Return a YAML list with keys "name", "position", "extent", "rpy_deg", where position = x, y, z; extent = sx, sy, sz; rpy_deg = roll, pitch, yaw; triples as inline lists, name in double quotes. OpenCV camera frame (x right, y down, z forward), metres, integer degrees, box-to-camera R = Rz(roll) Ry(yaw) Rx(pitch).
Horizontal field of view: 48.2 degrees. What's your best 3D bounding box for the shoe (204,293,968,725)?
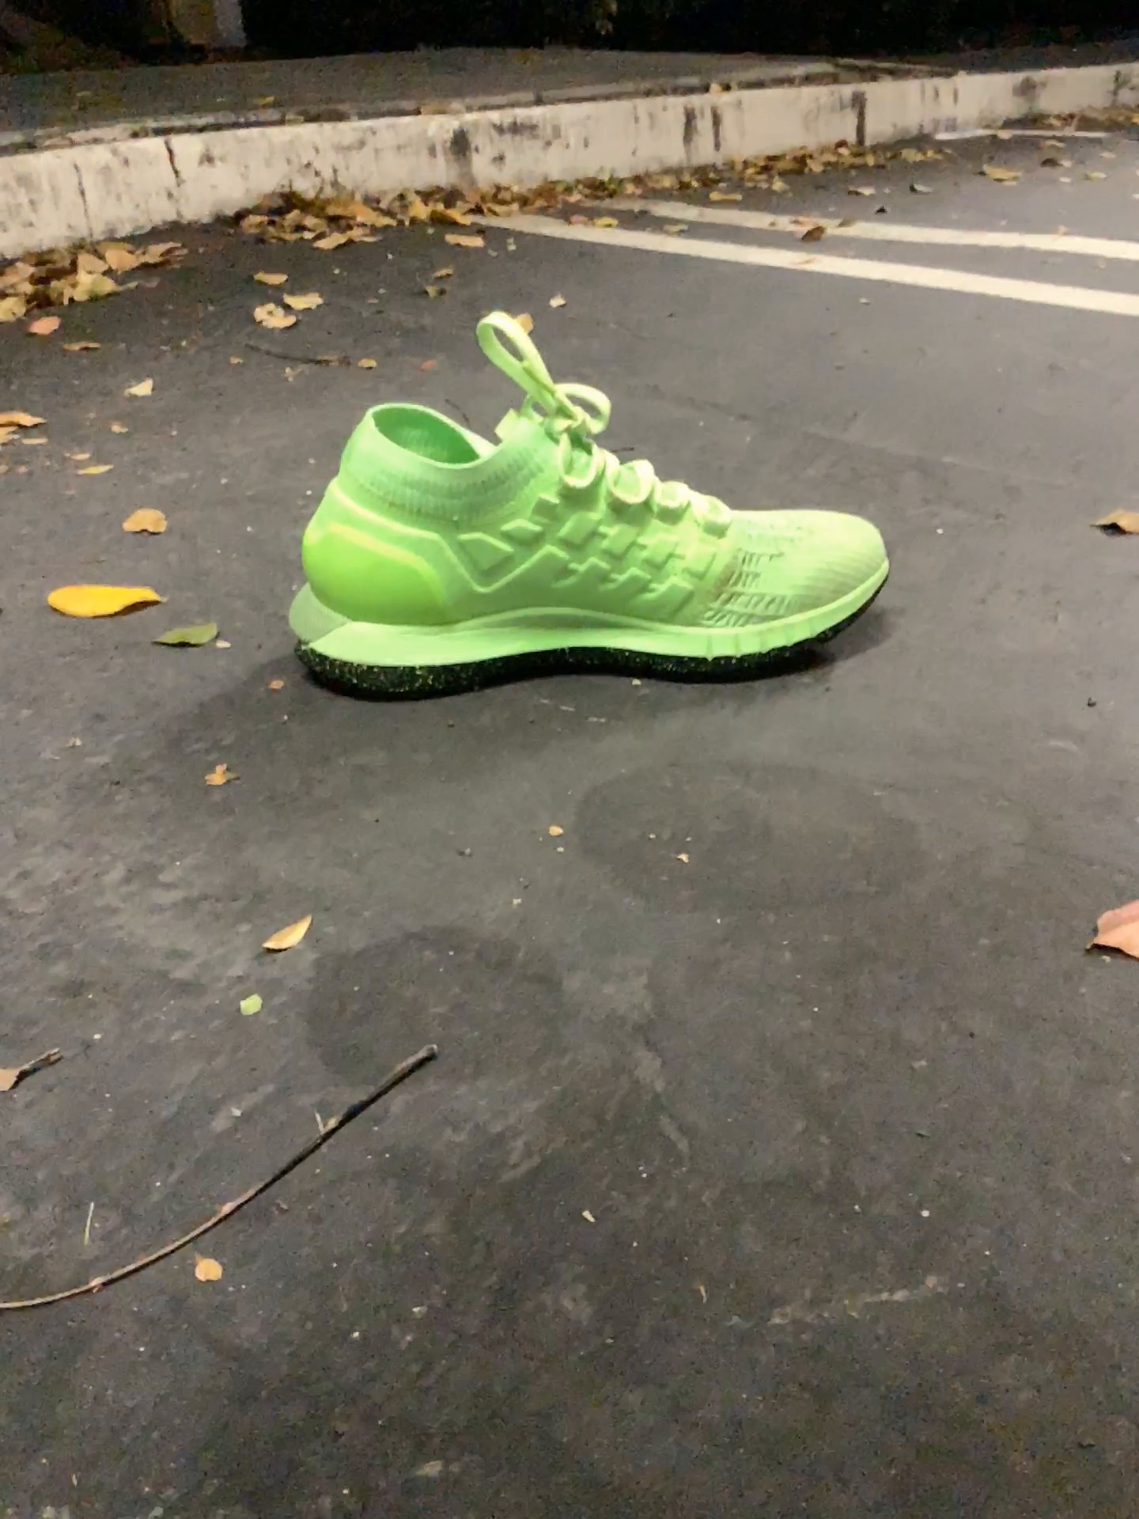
- name: "shoe"
  position: [0.009, -0.127, 0.624]
  extent: [0.320, 0.150, 0.130]
  rpy_deg: [-5, 29, -1]
